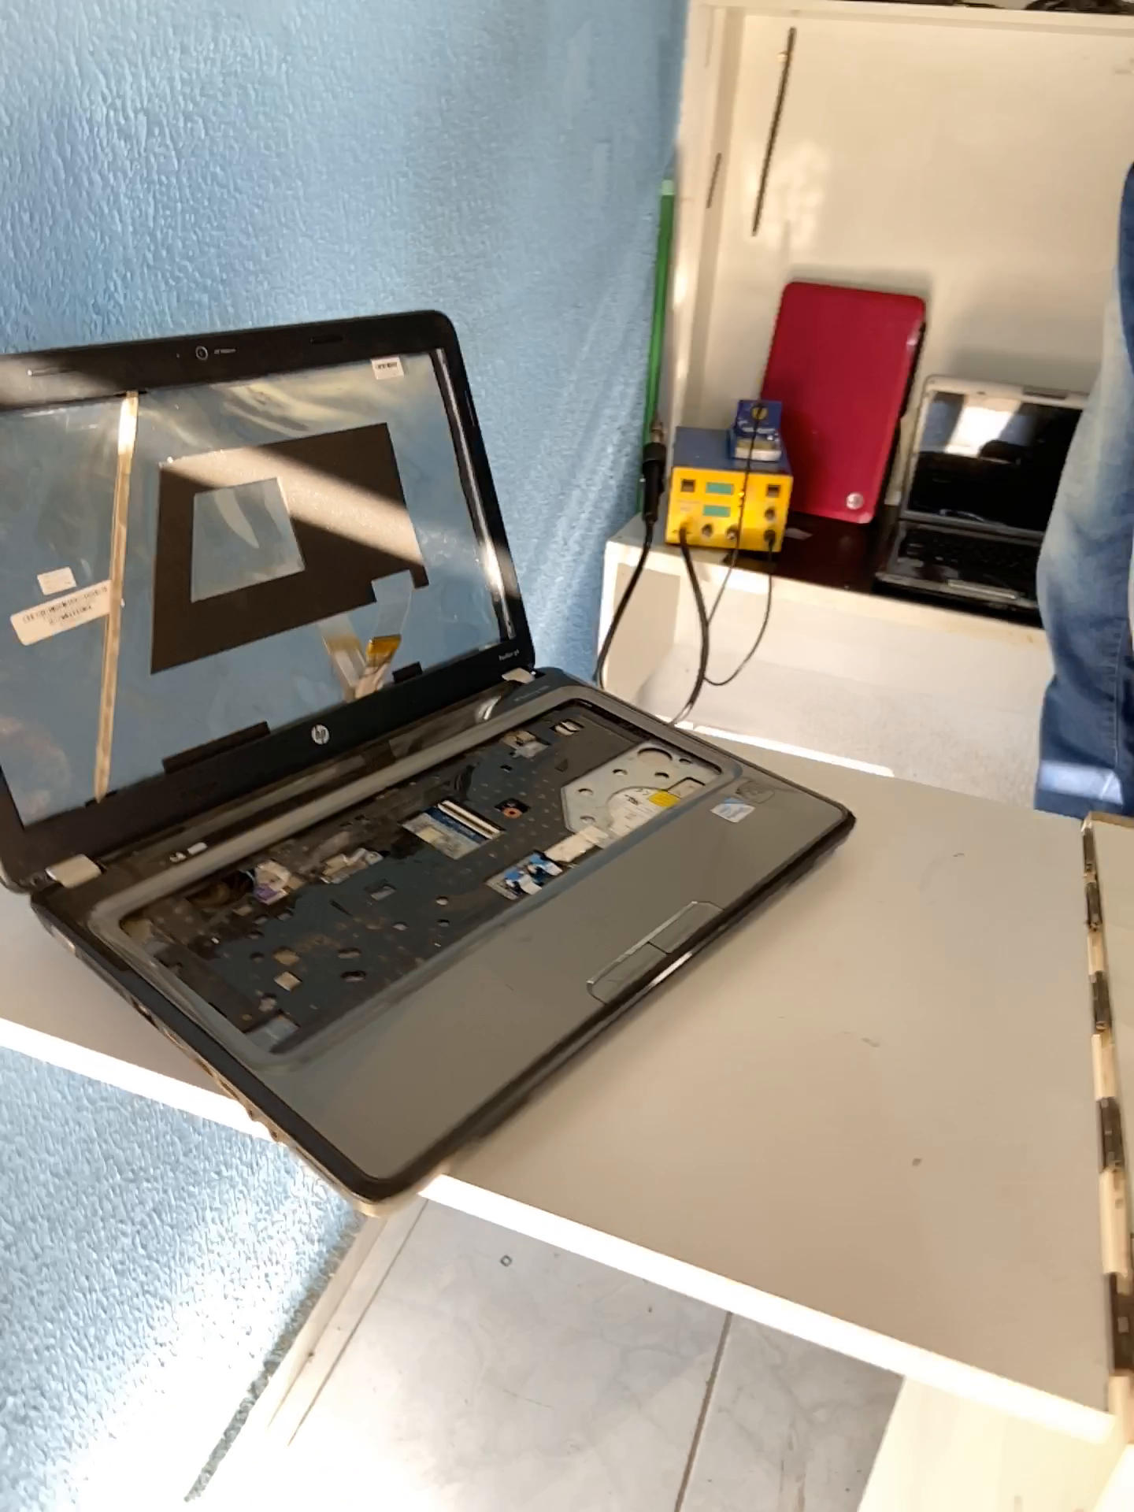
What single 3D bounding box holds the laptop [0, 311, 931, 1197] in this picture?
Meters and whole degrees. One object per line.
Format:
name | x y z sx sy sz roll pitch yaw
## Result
laptop | -0.072 -0.060 0.542 0.323 0.194 0.336 27 37 33
